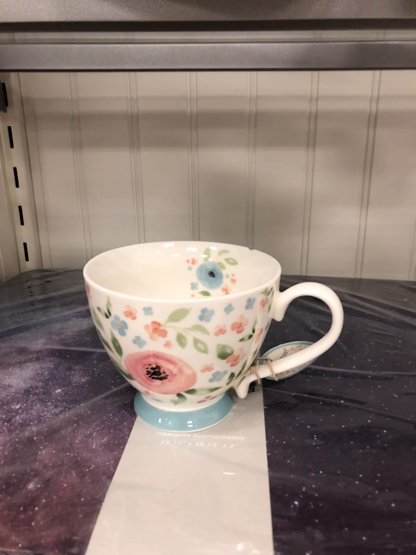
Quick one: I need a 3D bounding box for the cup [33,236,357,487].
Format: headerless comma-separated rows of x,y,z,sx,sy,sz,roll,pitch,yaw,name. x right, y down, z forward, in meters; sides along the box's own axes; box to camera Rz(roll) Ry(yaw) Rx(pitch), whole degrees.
0.003,0.033,0.265,0.150,0.080,0.111,5,19,16,cup
